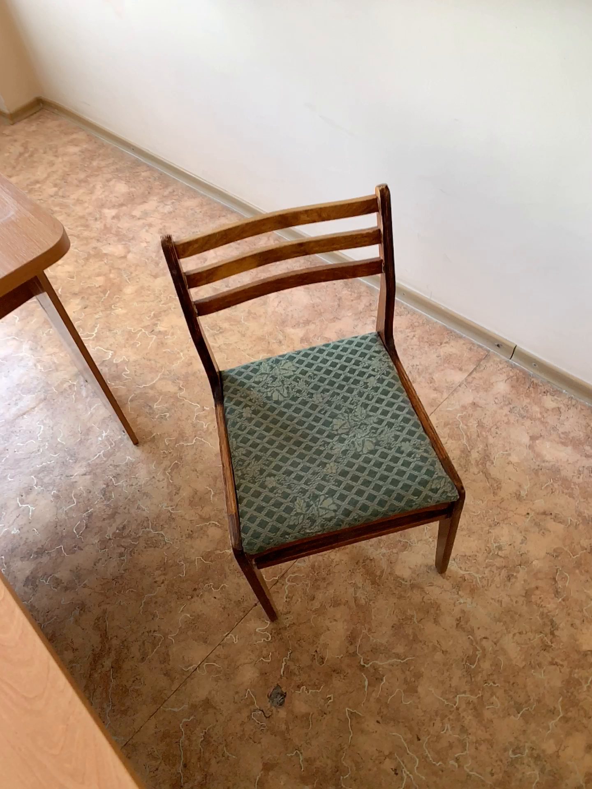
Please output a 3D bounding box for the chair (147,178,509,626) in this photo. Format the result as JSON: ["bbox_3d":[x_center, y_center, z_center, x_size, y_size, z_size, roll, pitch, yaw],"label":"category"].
[{"bbox_3d":[0.045,0.067,1.102,0.400,0.705,0.404,-15,53,-4],"label":"chair"}]
